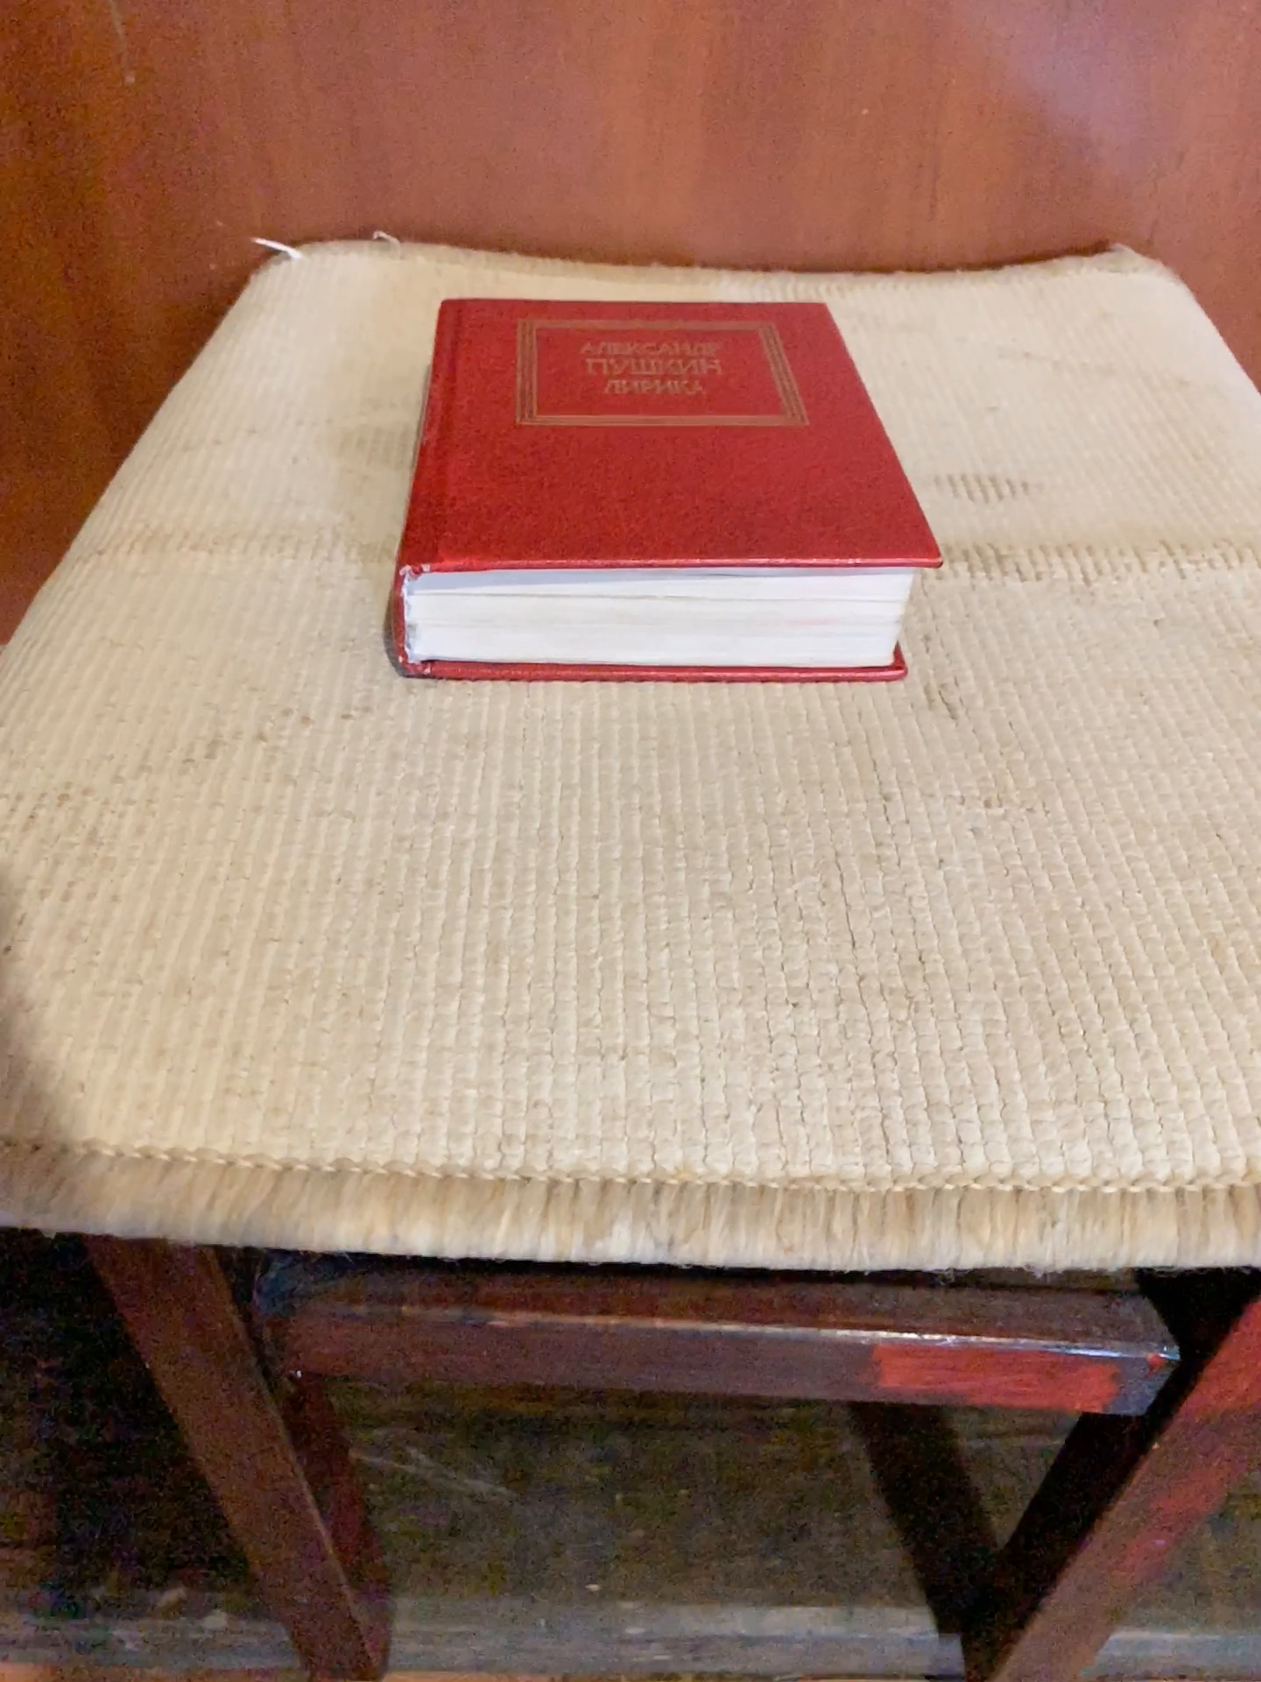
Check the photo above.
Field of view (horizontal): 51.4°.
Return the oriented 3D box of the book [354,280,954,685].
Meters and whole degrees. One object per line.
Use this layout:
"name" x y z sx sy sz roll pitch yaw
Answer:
"book" 0.002 -0.096 0.327 0.119 0.034 0.150 -1 42 -2
